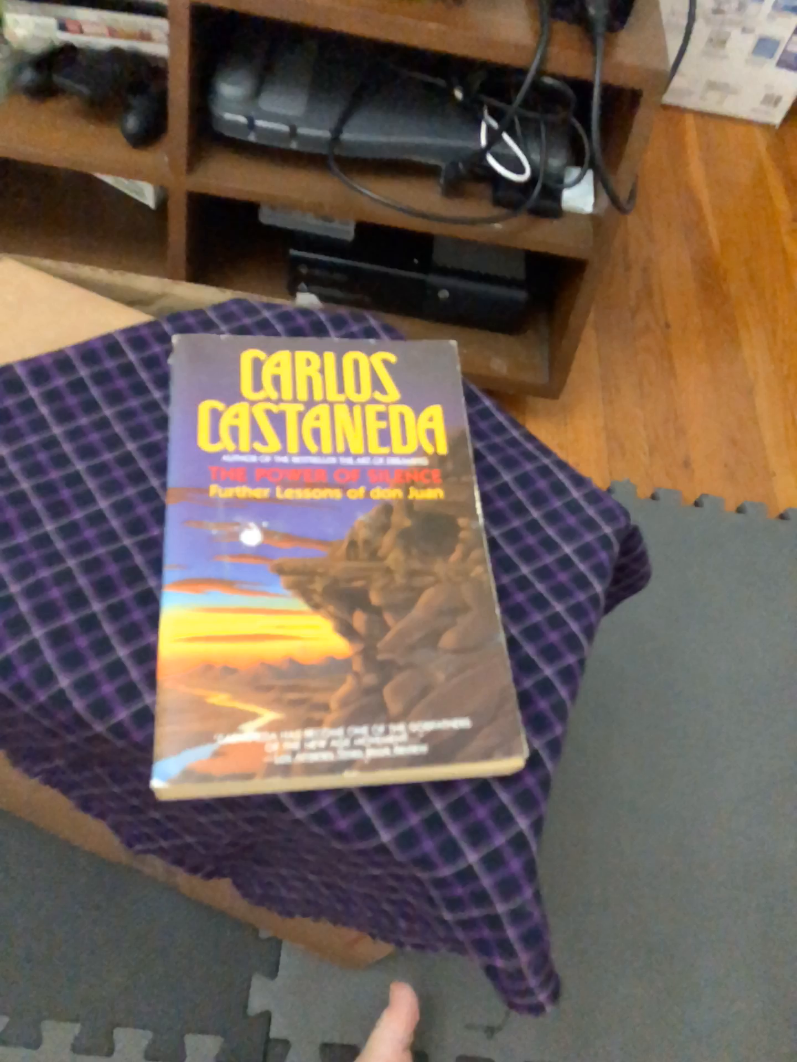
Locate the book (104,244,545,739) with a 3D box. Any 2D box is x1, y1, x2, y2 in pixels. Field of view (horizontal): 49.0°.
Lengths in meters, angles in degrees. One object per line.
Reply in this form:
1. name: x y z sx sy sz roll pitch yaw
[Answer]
1. book: -0.032 -0.029 0.361 0.150 0.020 0.221 0 60 -9
